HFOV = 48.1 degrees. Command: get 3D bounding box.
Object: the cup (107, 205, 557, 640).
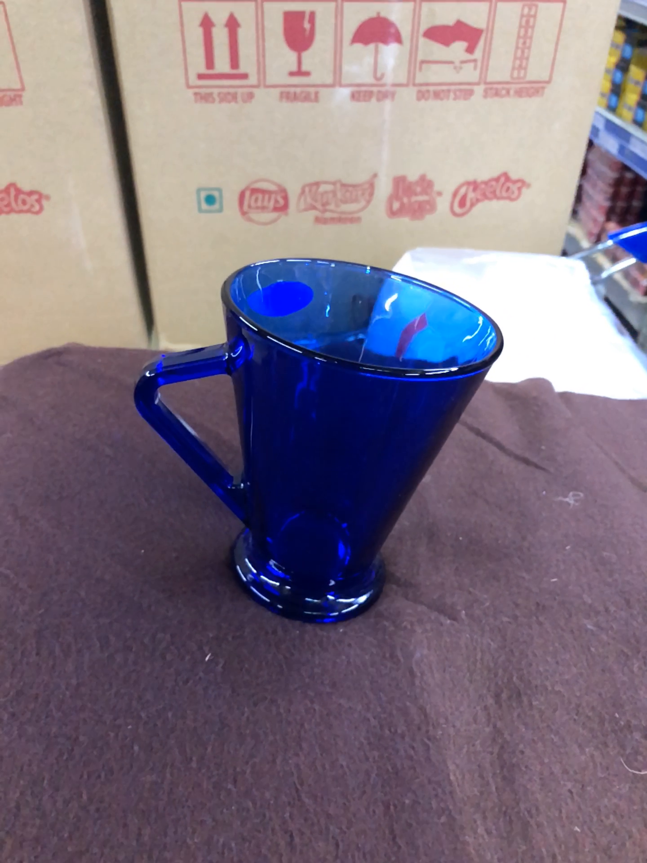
[{"bbox_3d":[-0.004,0.001,0.236,0.110,0.109,0.070,7,39,-5],"label":"cup"}]
